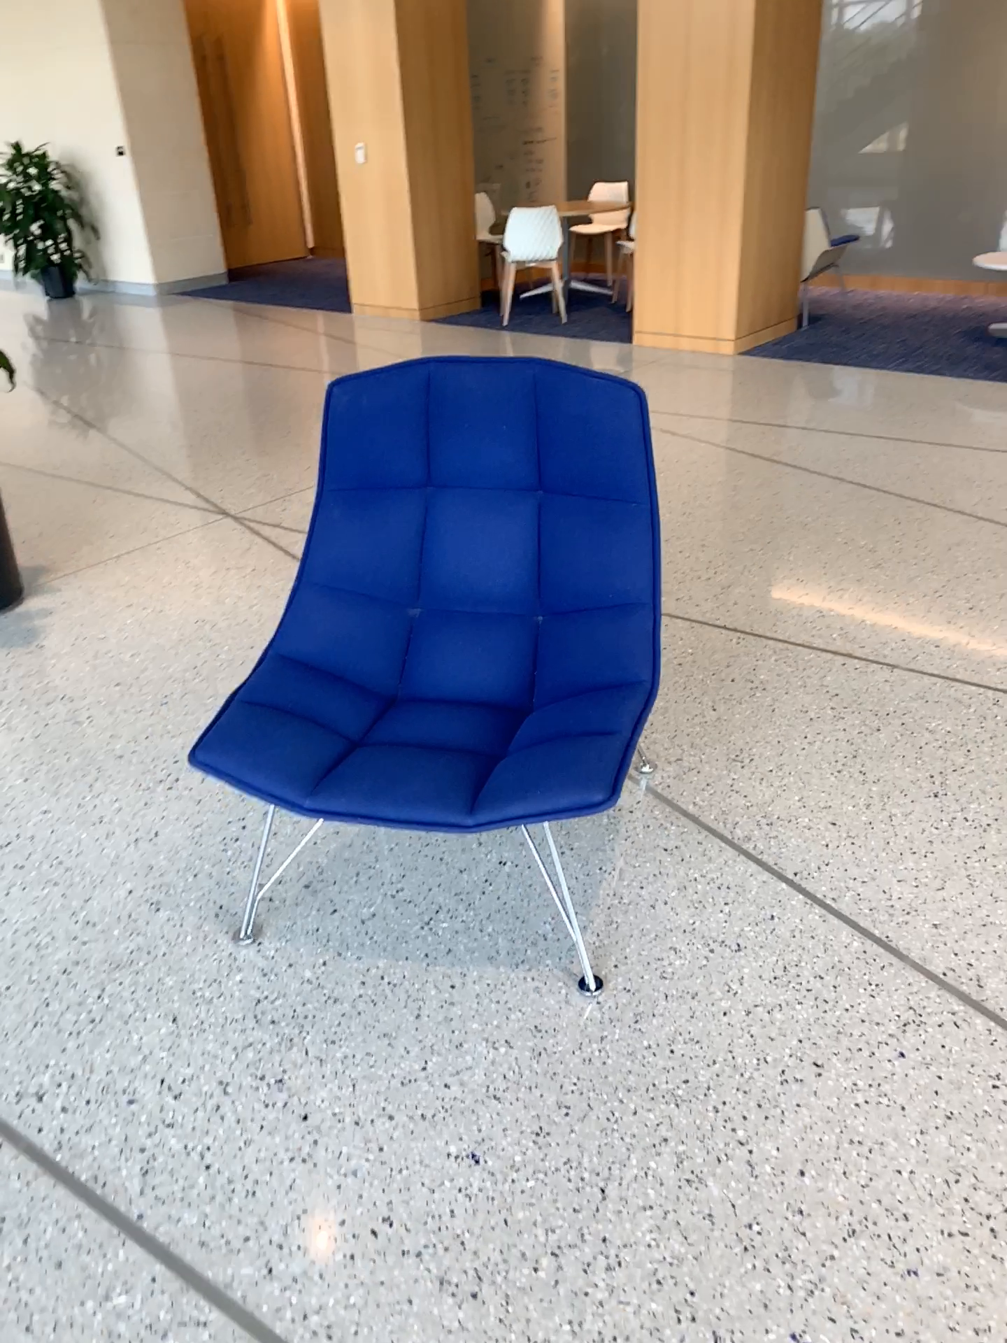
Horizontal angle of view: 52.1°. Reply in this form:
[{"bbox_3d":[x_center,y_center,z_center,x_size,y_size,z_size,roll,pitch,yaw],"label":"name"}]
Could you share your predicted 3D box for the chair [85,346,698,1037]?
[{"bbox_3d":[-0.091,-0.040,1.963,0.798,0.963,0.834,5,28,14],"label":"chair"}]
